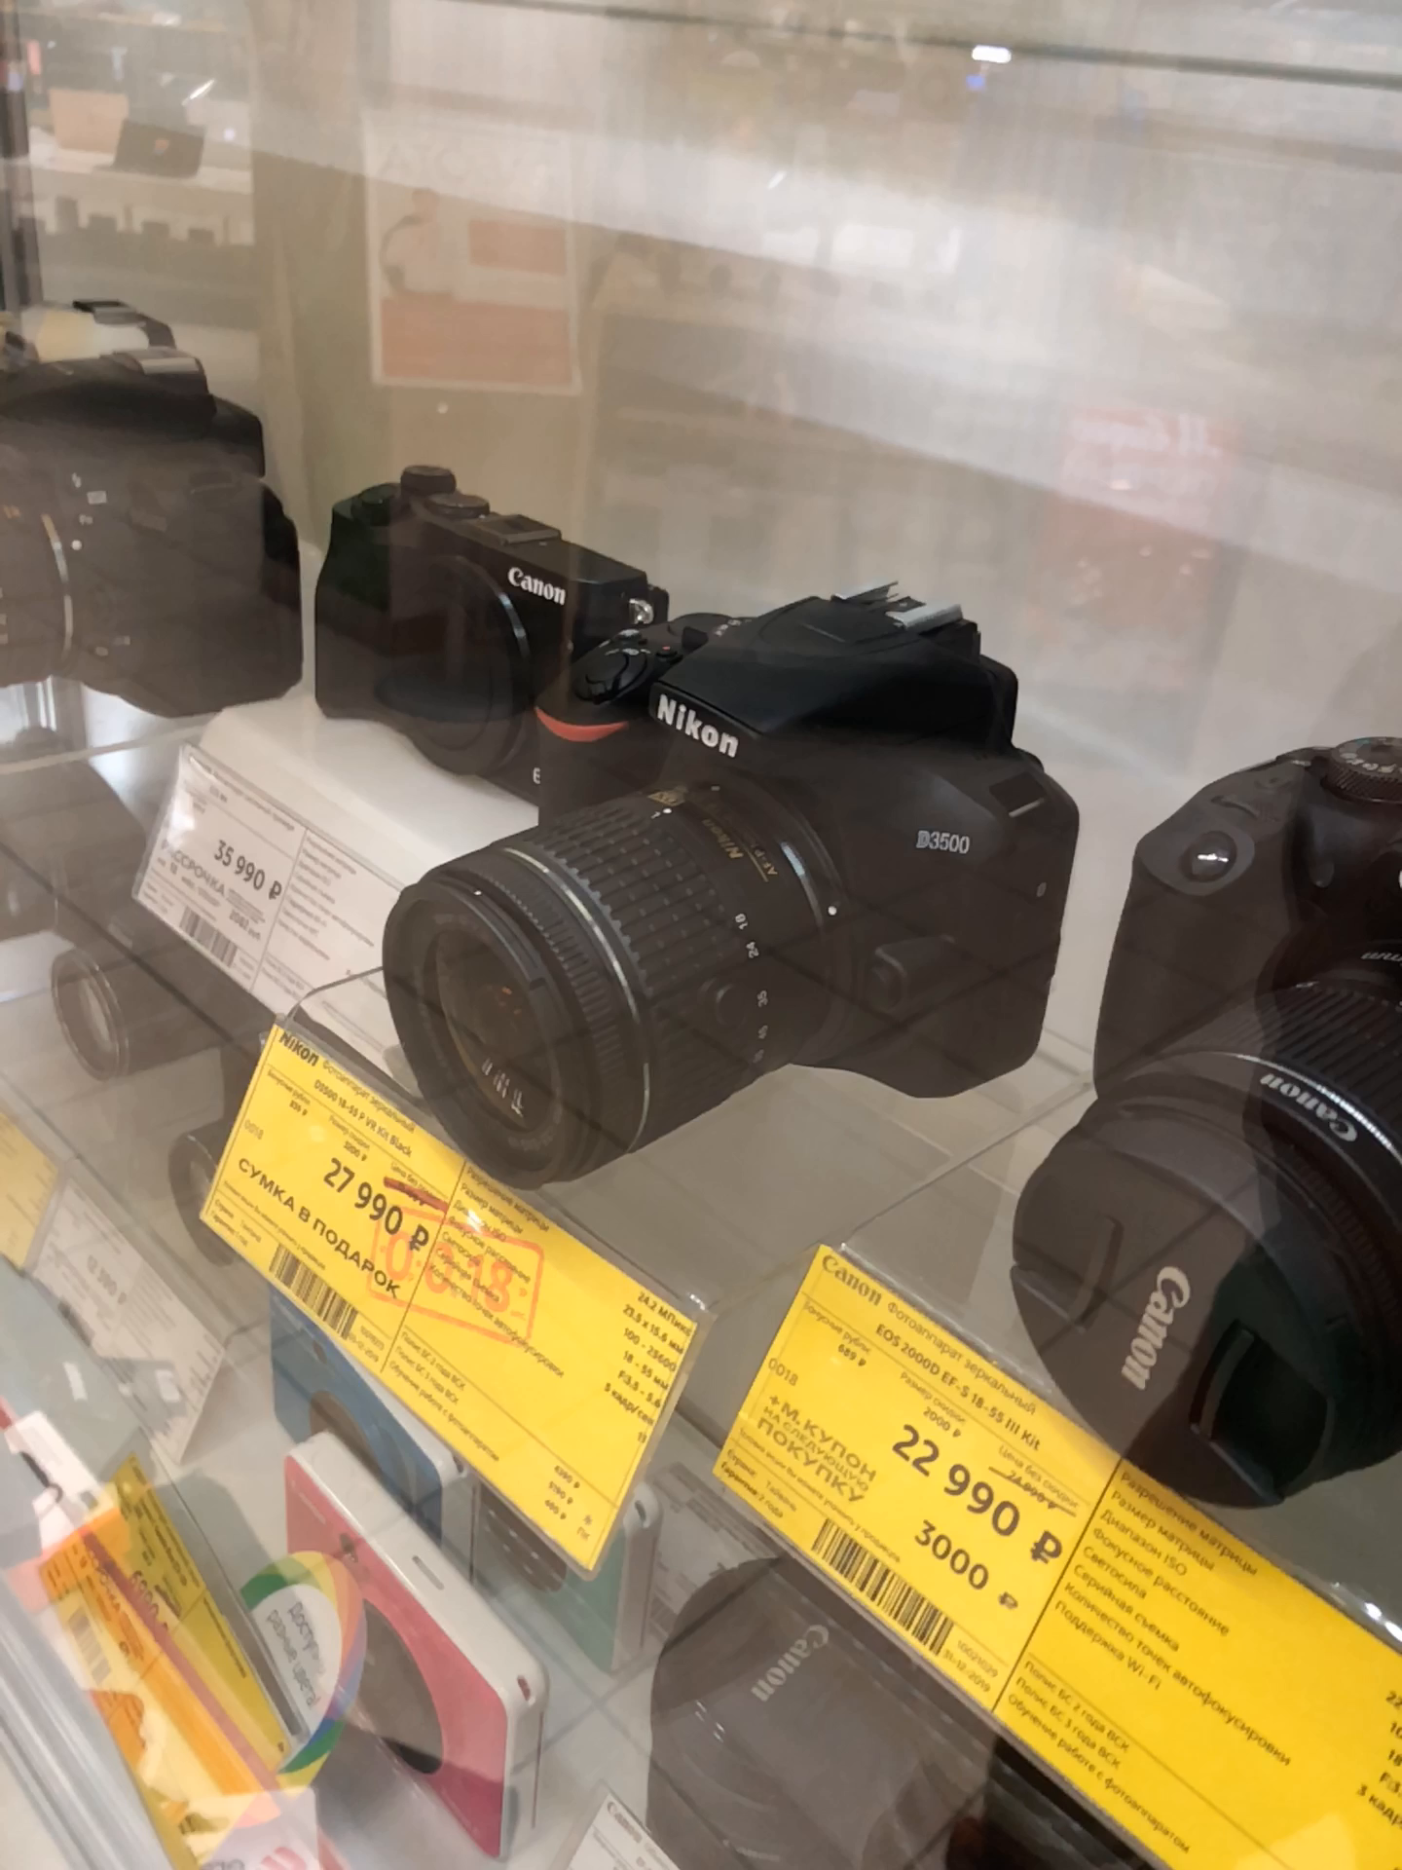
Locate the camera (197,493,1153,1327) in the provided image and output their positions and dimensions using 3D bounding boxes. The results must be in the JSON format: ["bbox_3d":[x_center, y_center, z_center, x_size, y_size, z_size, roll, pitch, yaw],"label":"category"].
[{"bbox_3d":[-0.009,-0.020,0.307,0.120,0.092,0.130,-21,38,-40],"label":"camera"}]
